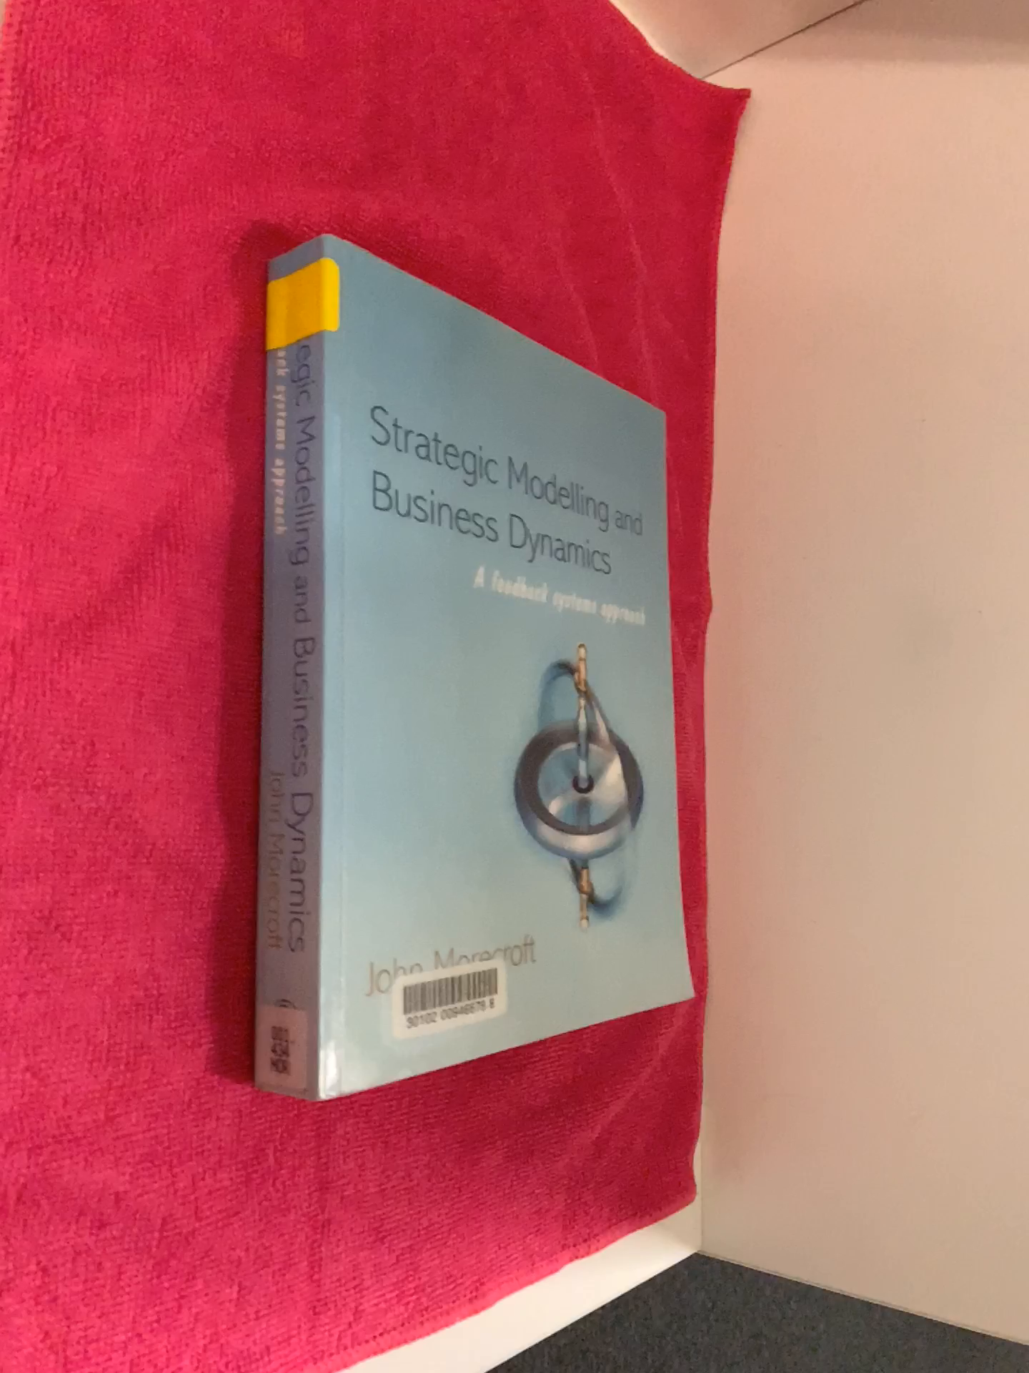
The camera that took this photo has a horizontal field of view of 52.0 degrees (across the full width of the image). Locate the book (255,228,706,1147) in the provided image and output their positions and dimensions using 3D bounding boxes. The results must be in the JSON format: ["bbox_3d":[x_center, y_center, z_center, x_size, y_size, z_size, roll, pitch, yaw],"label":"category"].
[{"bbox_3d":[0.002,0.003,0.370,0.194,0.033,0.250,9,78,-51],"label":"book"}]
